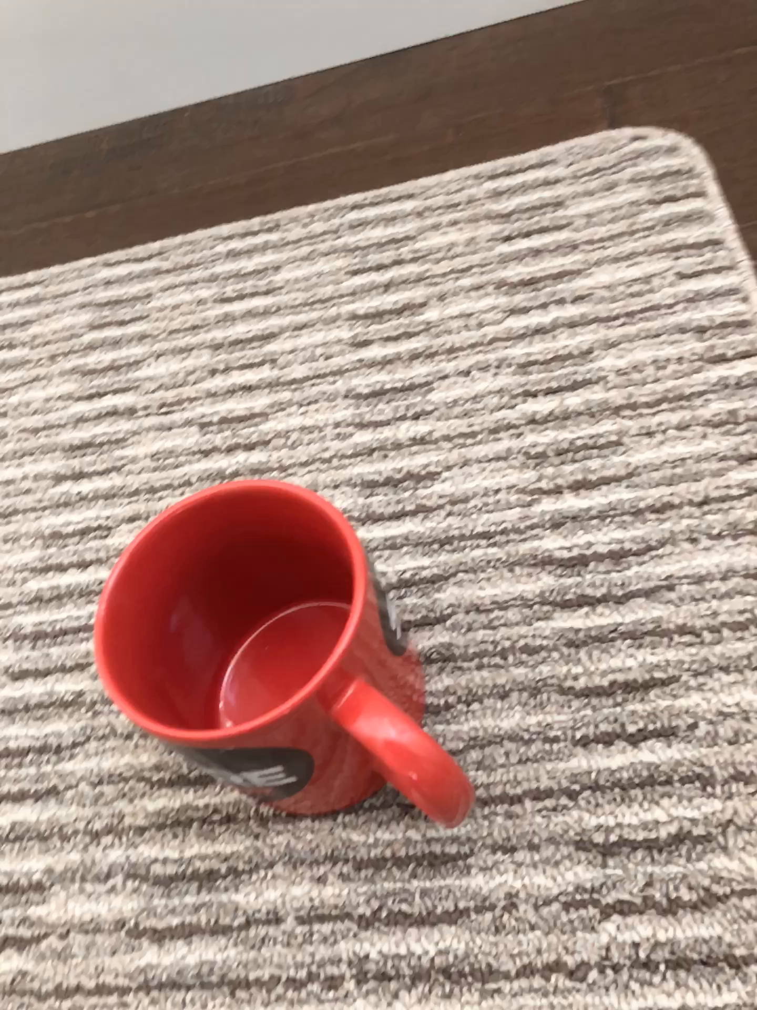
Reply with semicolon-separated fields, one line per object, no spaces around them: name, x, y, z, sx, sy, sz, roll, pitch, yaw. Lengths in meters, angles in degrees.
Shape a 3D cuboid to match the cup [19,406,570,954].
cup;-0.025;0.066;0.325;0.151;0.119;0.110;32;72;31
